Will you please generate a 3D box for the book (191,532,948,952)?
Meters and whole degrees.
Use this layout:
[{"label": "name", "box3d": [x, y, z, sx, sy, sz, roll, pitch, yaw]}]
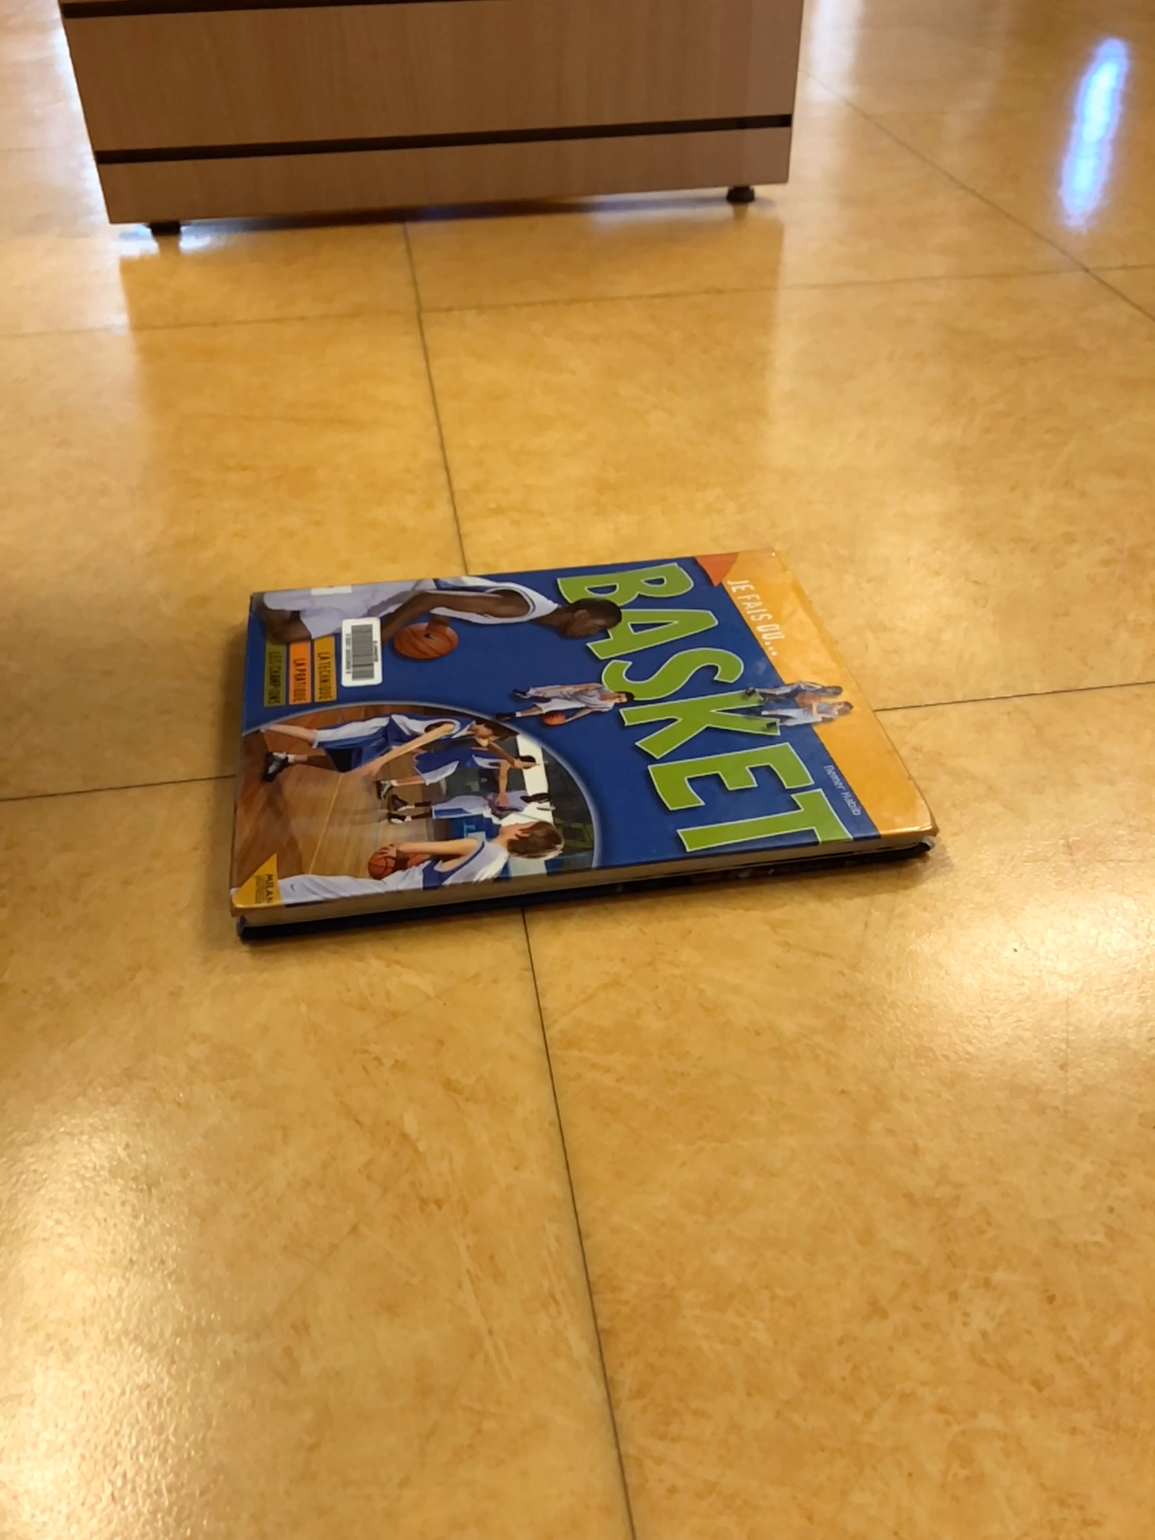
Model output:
[{"label": "book", "box3d": [-0.015, -0.026, 0.512, 0.257, 0.020, 0.211, -6, 40, -7]}]
